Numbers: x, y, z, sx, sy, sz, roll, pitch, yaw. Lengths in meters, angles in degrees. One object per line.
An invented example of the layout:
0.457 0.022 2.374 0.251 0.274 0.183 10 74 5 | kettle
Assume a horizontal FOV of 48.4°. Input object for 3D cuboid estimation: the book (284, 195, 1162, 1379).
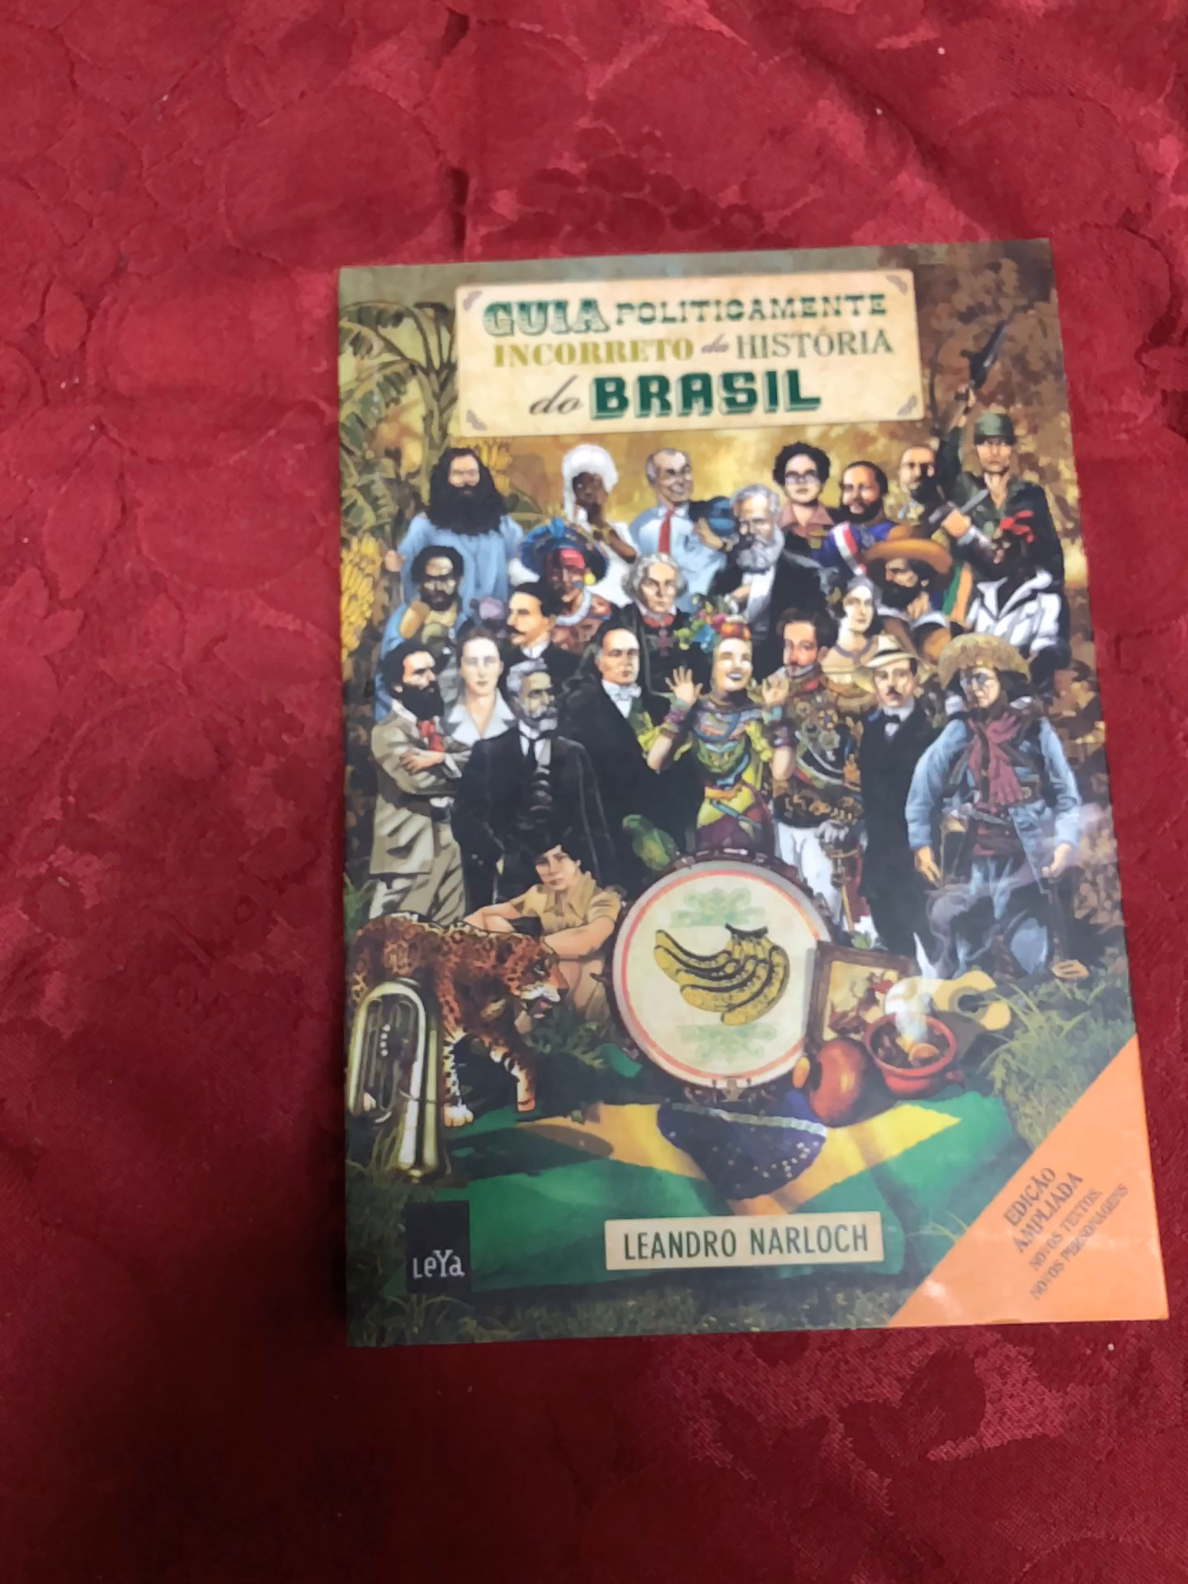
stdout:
0.021 -0.006 0.281 0.160 0.030 0.230 -4 83 0 | book
